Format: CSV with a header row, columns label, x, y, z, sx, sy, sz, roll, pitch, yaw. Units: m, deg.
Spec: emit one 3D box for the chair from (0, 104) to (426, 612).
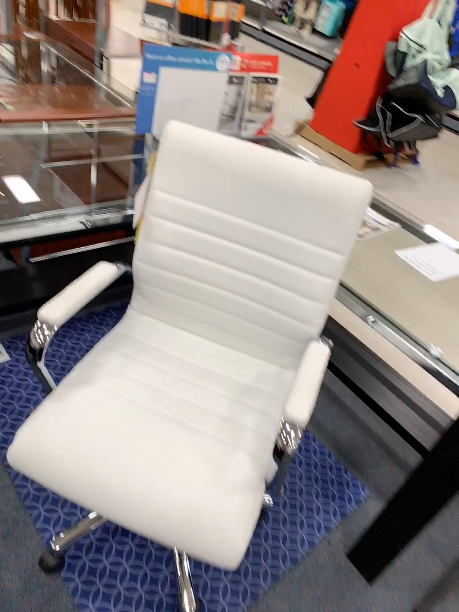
label,x,y,z,sx,sy,sz,roll,pitch,yaw
chair,-0.072,0.181,1.108,0.614,0.963,0.664,20,38,6
